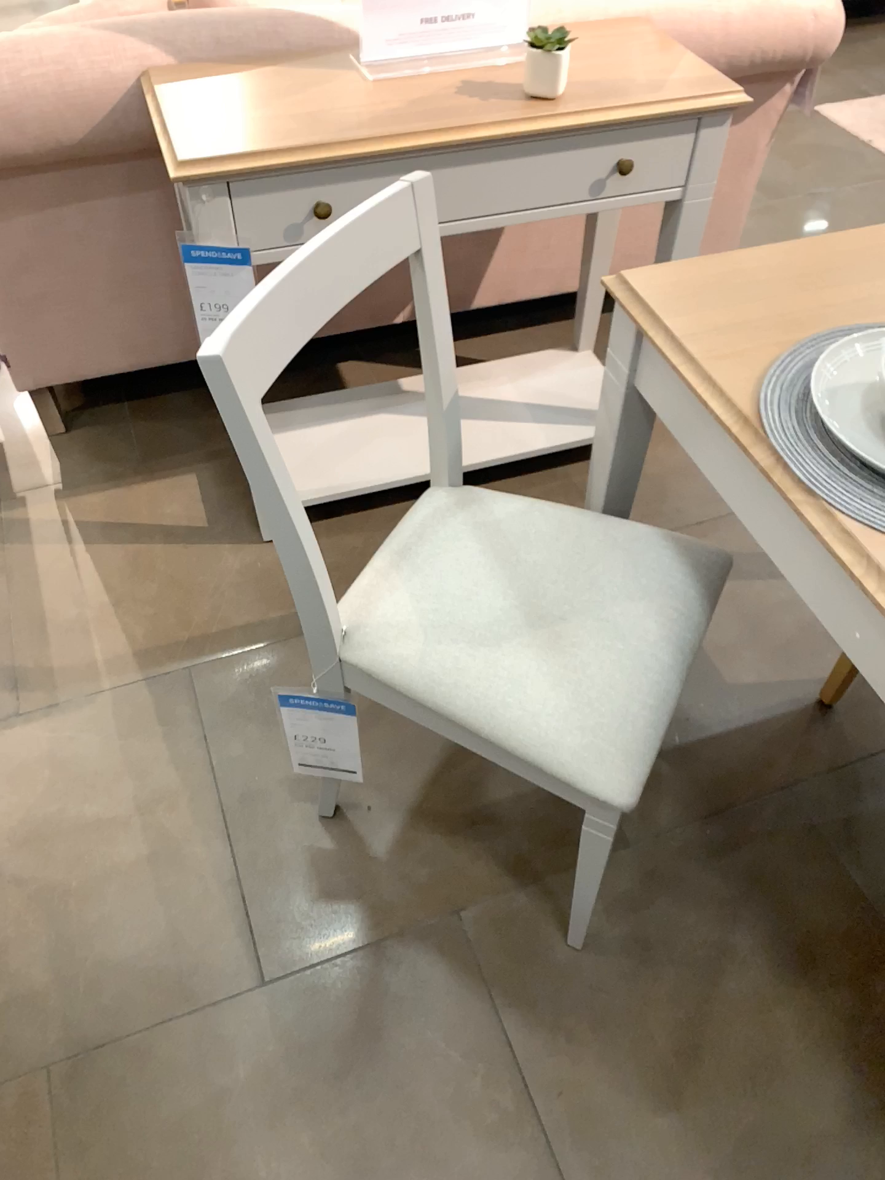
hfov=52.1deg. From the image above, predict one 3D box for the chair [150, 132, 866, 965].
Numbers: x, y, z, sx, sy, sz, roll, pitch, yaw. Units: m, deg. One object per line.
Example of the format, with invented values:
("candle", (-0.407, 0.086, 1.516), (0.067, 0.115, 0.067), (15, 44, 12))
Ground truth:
("chair", (0.078, -0.010, 1.141), (0.508, 0.832, 0.464), (23, 52, 18))
